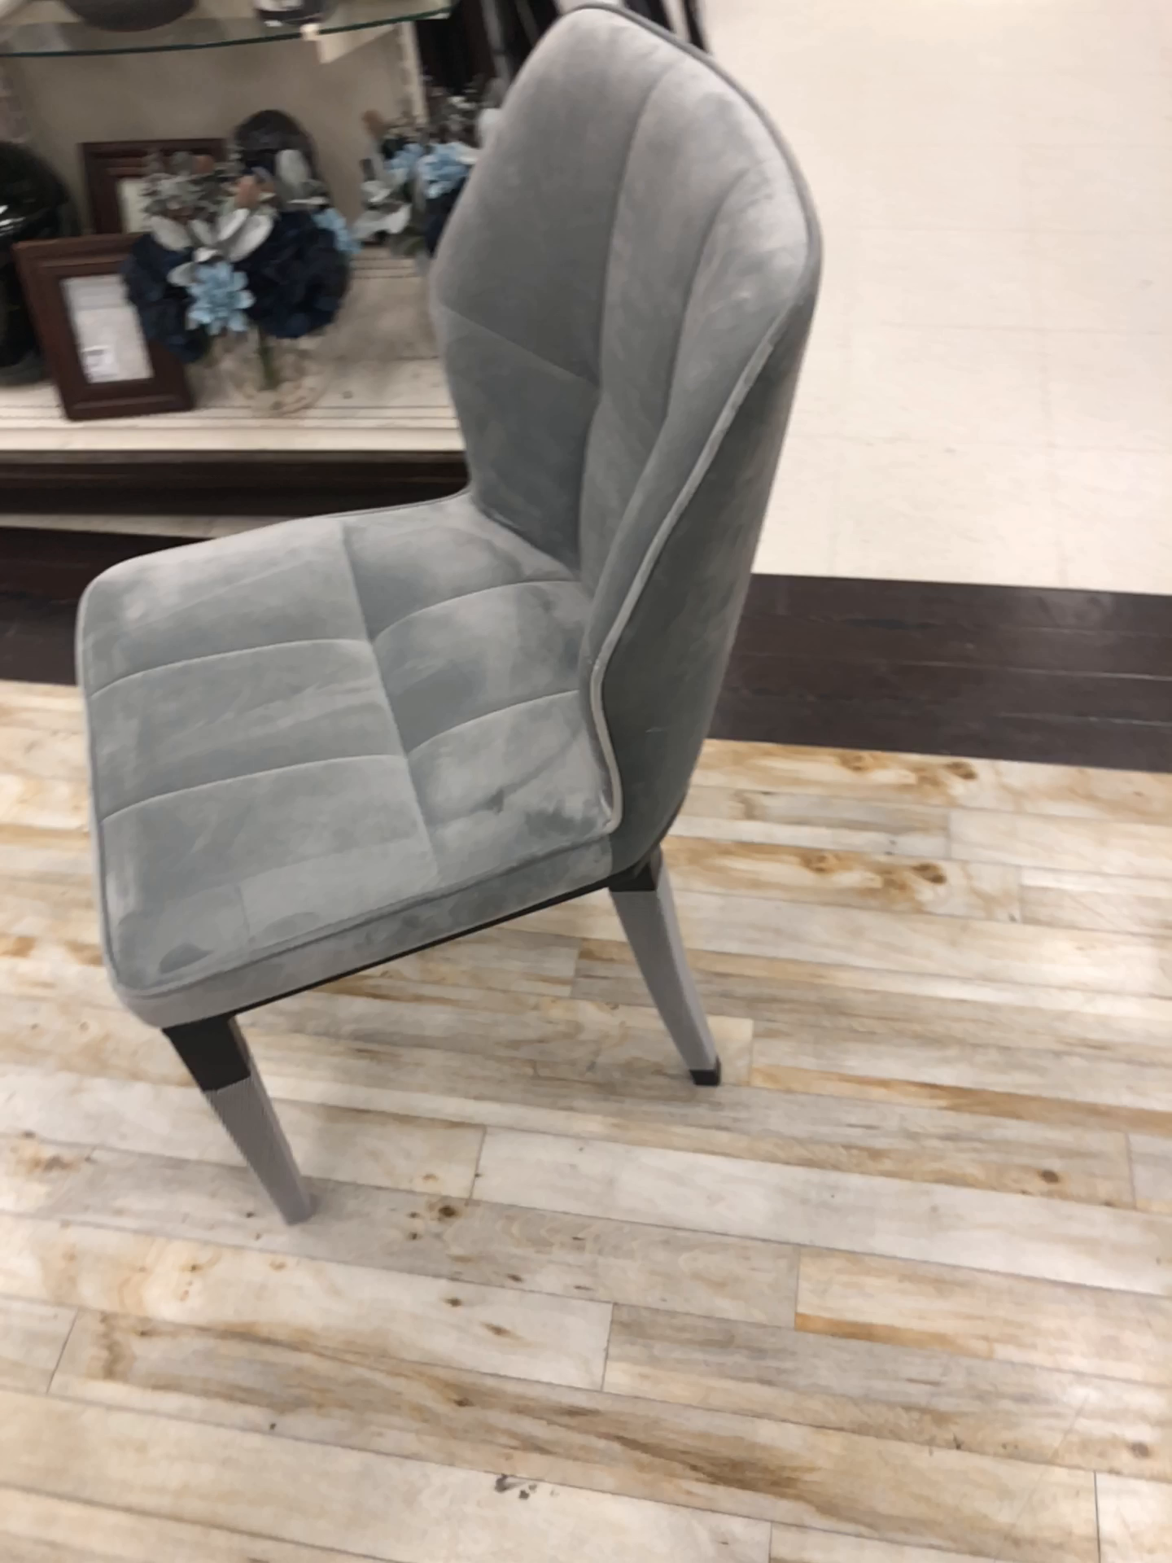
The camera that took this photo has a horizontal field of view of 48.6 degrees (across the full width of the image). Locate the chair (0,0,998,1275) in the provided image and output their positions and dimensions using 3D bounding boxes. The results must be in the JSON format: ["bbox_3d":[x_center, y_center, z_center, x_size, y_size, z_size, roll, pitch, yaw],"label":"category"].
[{"bbox_3d":[-0.122,-0.075,1.075,0.570,0.838,0.532,-15,51,-7],"label":"chair"}]
